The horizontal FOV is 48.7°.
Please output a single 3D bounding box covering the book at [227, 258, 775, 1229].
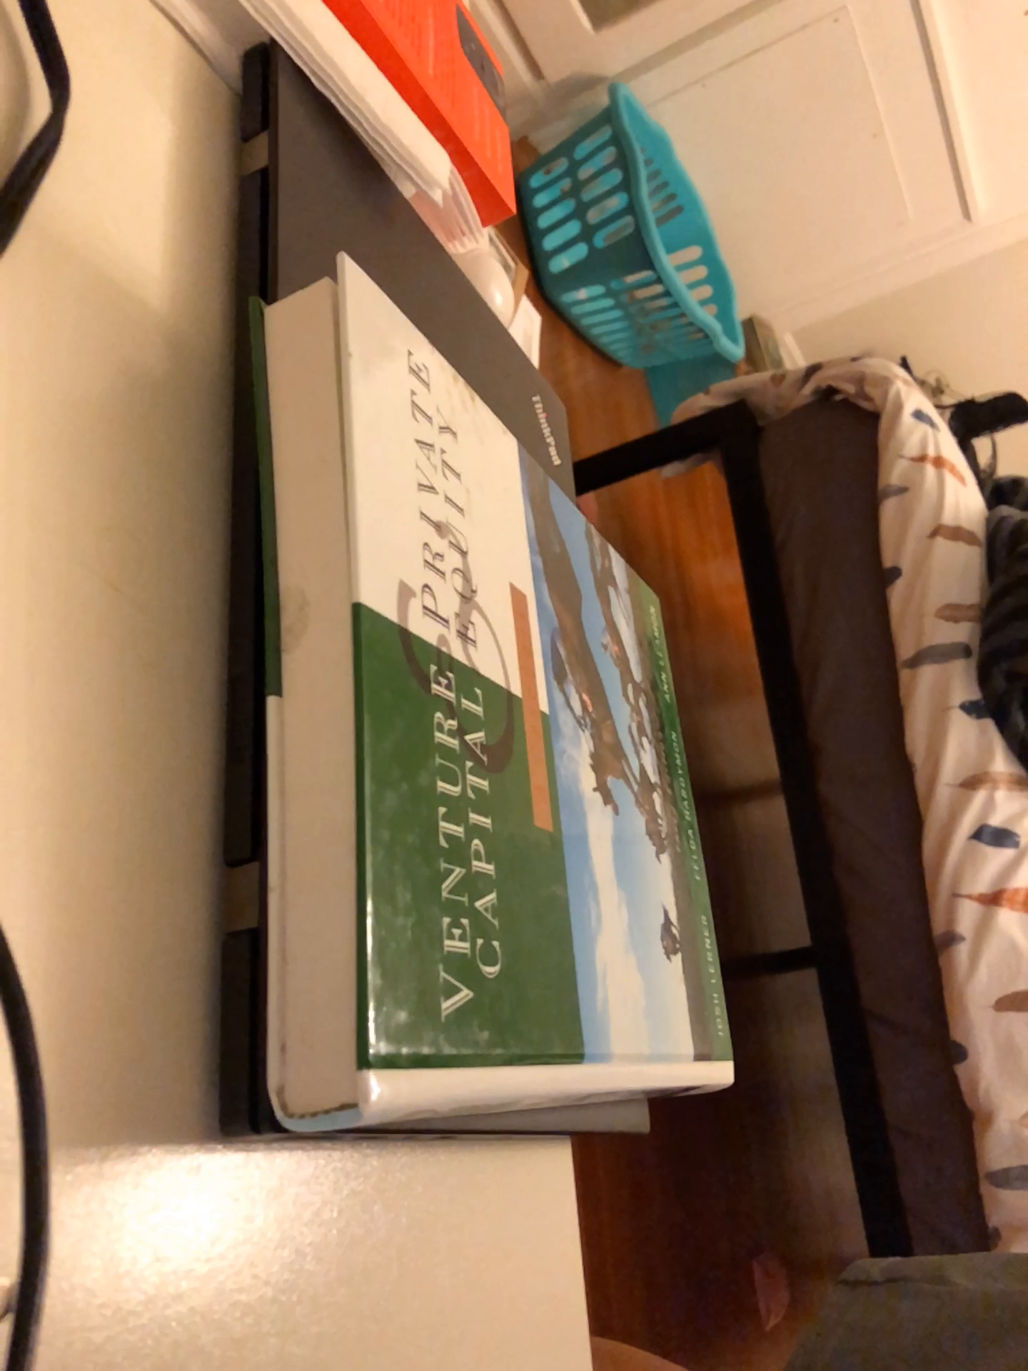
[{"bbox_3d":[0.012,0.036,0.365,0.271,0.030,0.220,32,46,-57],"label":"book"}]
